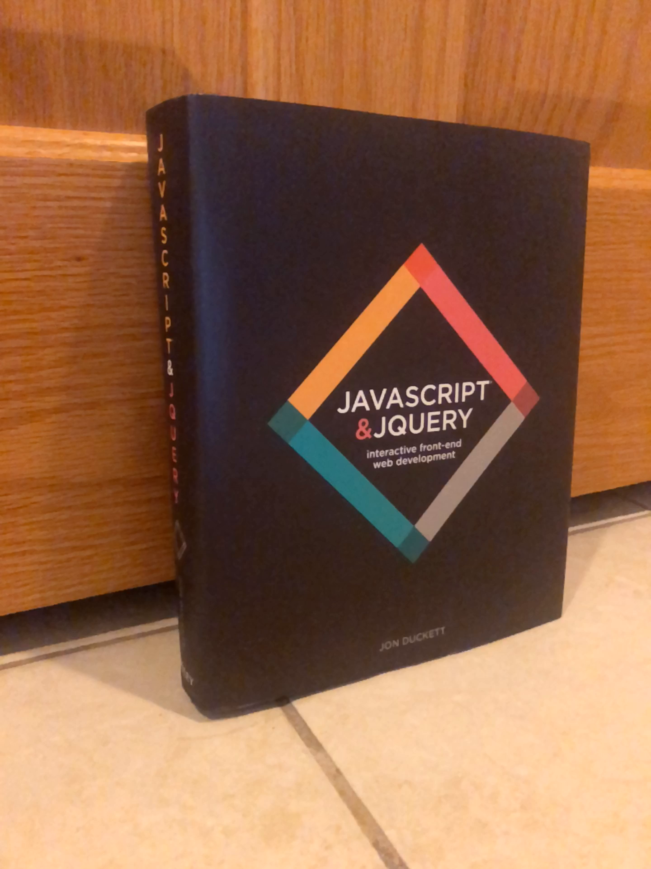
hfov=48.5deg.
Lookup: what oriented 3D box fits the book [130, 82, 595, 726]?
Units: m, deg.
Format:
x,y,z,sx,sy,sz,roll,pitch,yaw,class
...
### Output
x,y,z,sx,sy,sz,roll,pitch,yaw,class
0.025,-0.018,0.336,0.201,0.238,0.060,-7,11,-27,book
